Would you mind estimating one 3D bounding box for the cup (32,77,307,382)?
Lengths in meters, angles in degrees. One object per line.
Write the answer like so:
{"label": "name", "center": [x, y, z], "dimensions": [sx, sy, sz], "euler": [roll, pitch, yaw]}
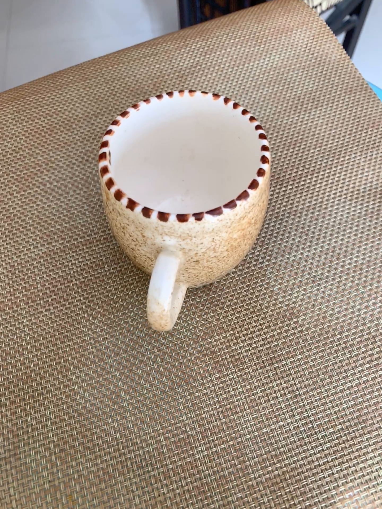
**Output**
{"label": "cup", "center": [-0.001, -0.008, 0.164], "dimensions": [0.070, 0.070, 0.090], "euler": [12, 65, 7]}
